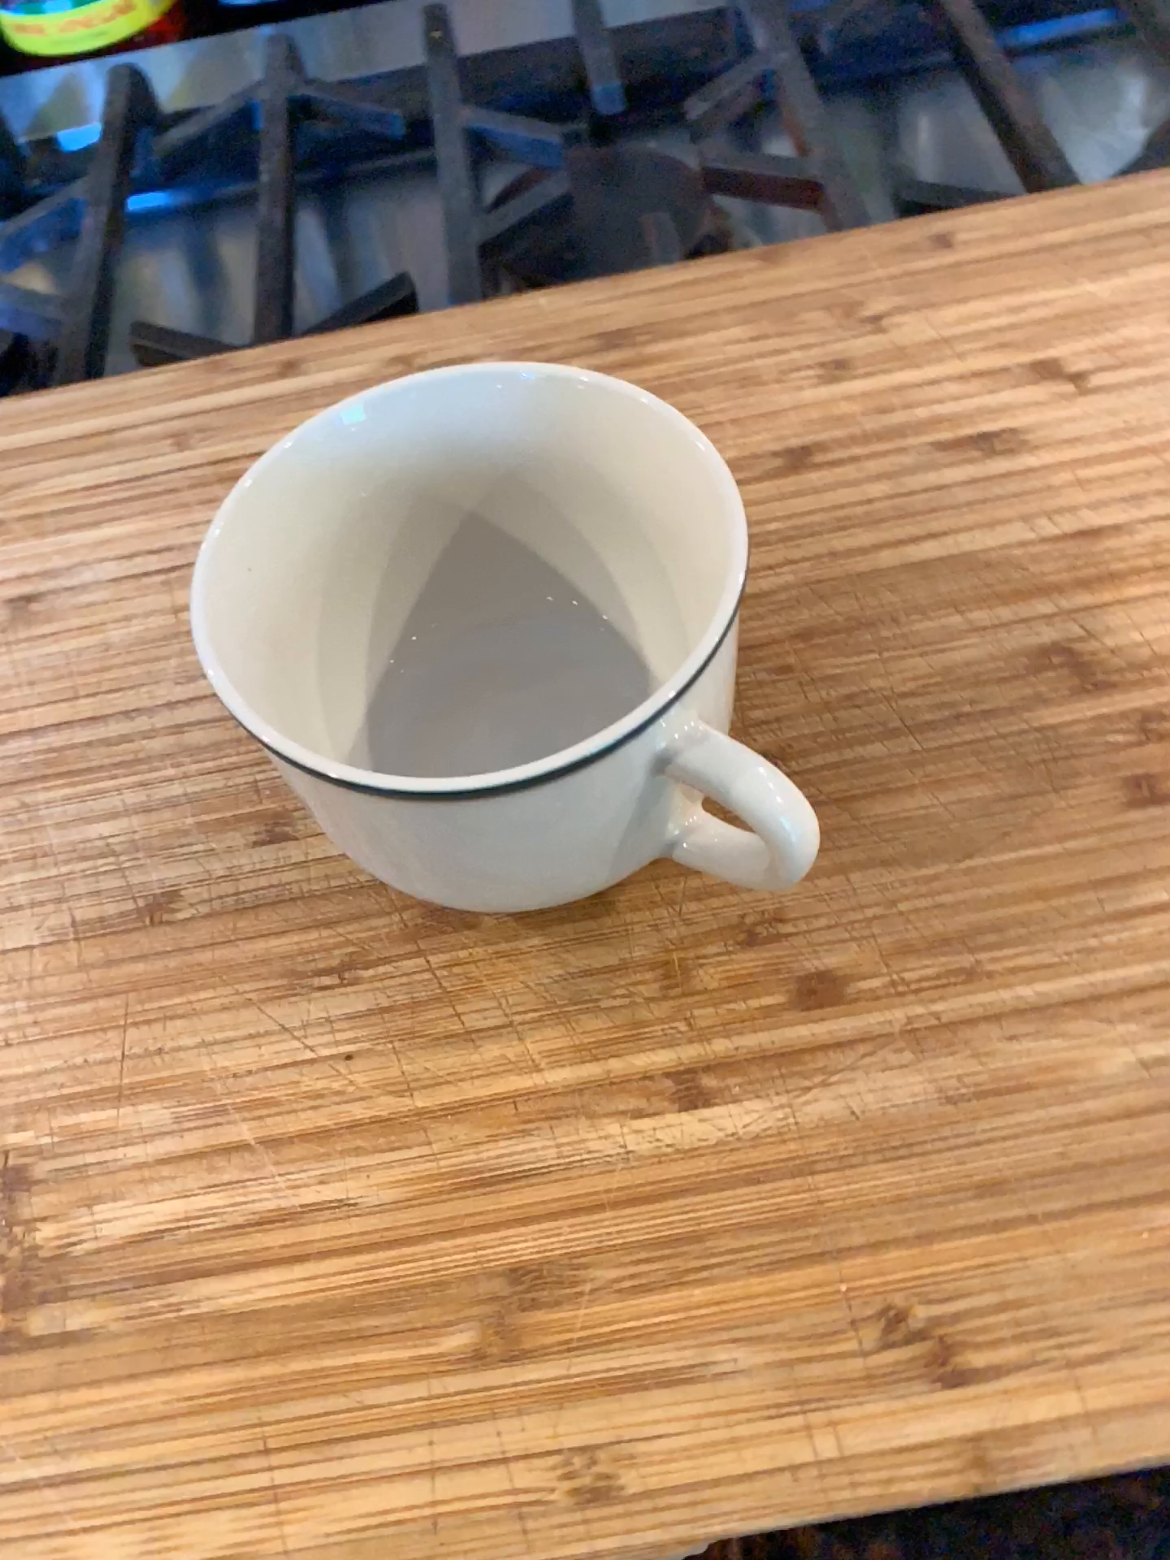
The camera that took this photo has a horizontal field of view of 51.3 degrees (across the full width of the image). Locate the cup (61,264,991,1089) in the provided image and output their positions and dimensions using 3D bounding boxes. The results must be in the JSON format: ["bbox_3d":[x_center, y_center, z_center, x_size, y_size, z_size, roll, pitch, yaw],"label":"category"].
[{"bbox_3d":[-0.009,-0.024,0.219,0.120,0.060,0.090,30,66,24],"label":"cup"}]
